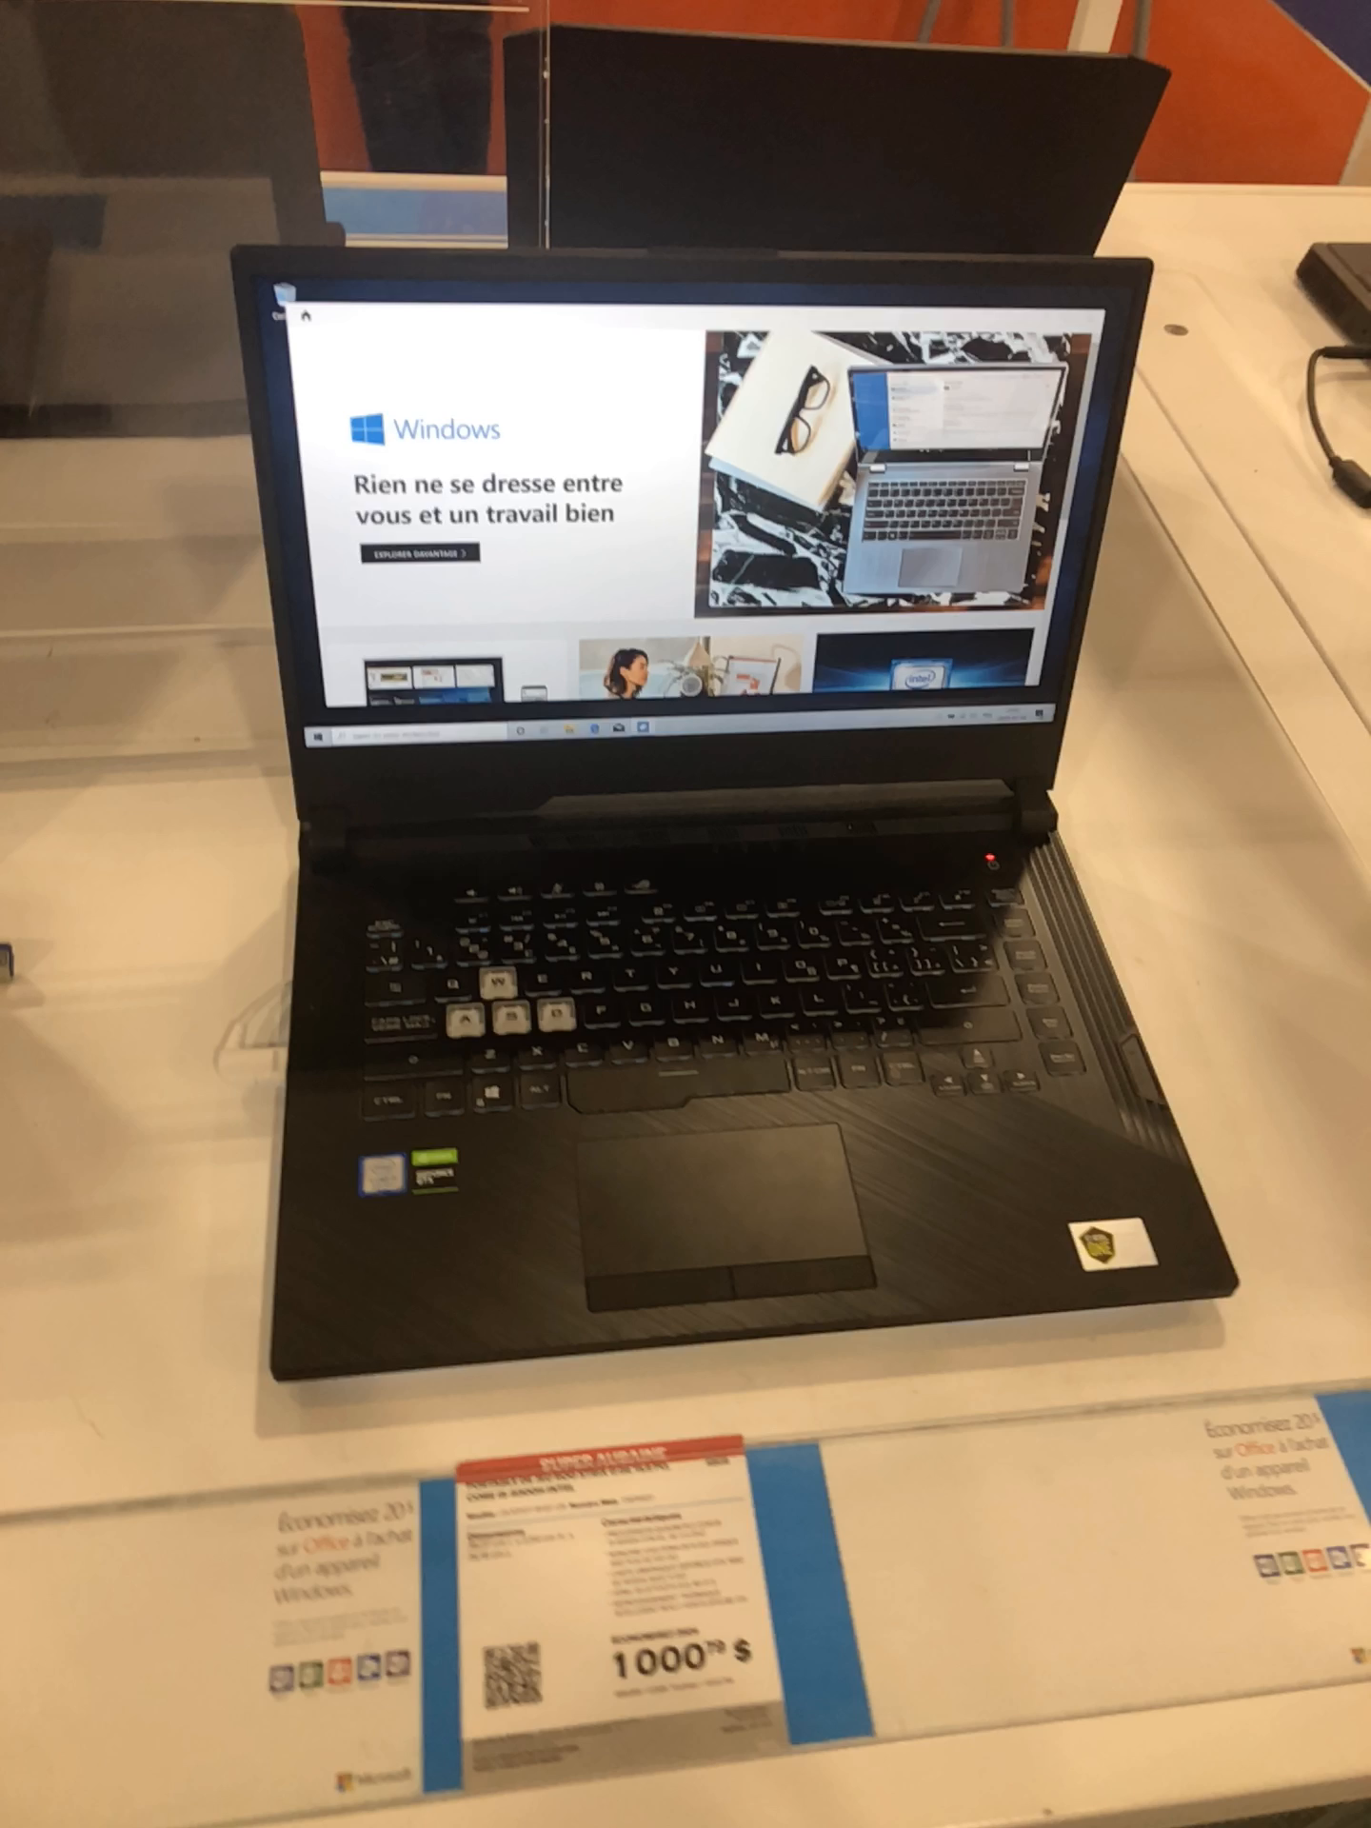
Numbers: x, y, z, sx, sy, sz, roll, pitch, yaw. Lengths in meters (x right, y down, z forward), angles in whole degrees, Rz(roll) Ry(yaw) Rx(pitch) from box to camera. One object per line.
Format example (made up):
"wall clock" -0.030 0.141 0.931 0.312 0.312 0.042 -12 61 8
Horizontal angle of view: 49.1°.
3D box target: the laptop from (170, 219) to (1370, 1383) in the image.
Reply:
"laptop" 0.025 -0.061 0.589 0.363 0.236 0.345 -3 51 -7
